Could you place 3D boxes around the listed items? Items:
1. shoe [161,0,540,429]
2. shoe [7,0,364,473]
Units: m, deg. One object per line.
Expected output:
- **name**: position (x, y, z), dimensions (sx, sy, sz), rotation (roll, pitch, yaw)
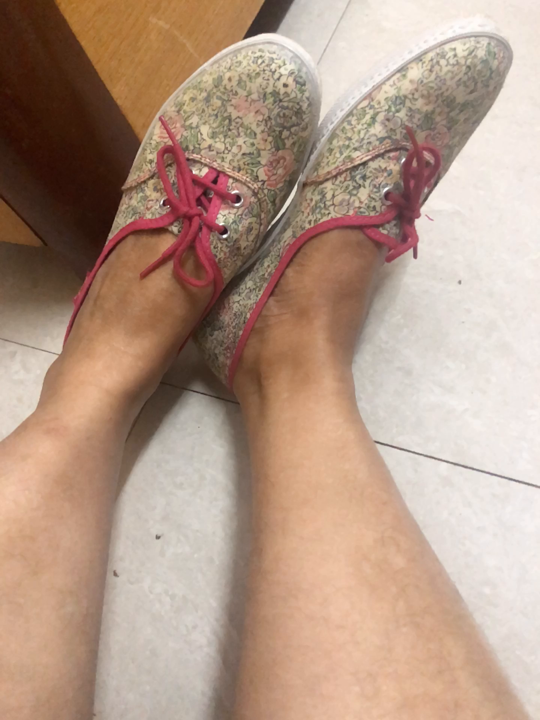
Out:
- **shoe**: position (0.038, -0.078, 0.366), dimensions (0.259, 0.090, 0.070), rotation (-54, 40, 26)
- **shoe**: position (-0.058, -0.062, 0.349), dimensions (0.259, 0.090, 0.070), rotation (-57, 11, 27)
